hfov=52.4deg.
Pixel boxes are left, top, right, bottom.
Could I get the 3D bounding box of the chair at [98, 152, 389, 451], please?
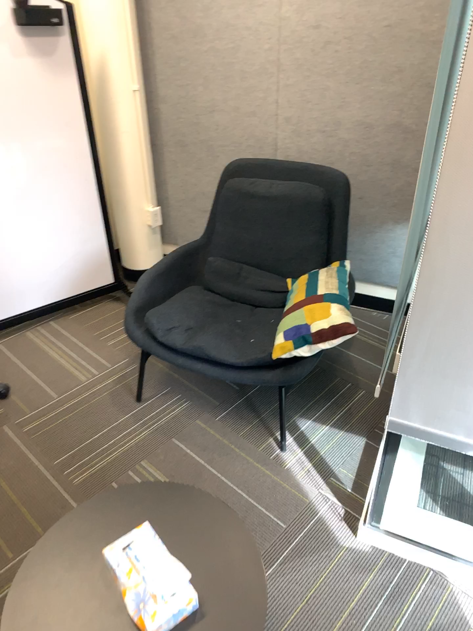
[{"bbox_3d":[0.092,-0.160,2.183,0.792,0.816,1.003,17,37,26],"label":"chair"}]
